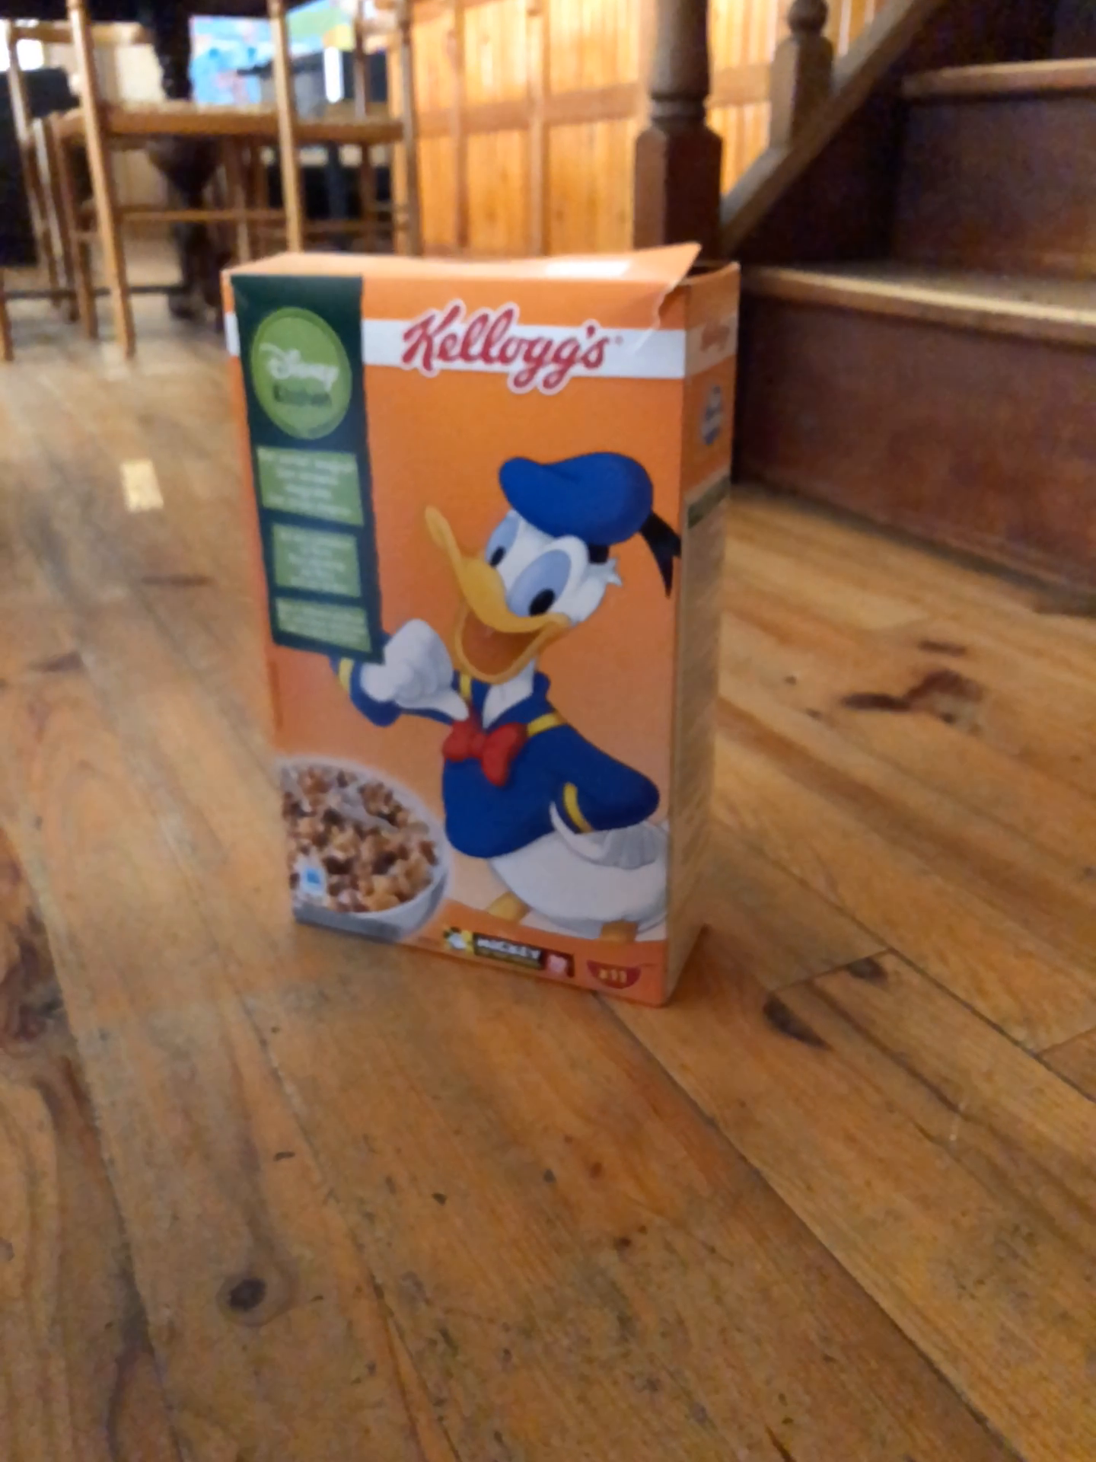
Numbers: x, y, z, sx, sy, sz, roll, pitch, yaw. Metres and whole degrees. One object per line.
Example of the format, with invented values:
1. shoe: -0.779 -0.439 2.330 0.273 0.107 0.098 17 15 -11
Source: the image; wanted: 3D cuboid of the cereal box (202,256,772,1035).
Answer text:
1. cereal box: -0.023 -0.042 0.530 0.200 0.298 0.091 10 25 20
